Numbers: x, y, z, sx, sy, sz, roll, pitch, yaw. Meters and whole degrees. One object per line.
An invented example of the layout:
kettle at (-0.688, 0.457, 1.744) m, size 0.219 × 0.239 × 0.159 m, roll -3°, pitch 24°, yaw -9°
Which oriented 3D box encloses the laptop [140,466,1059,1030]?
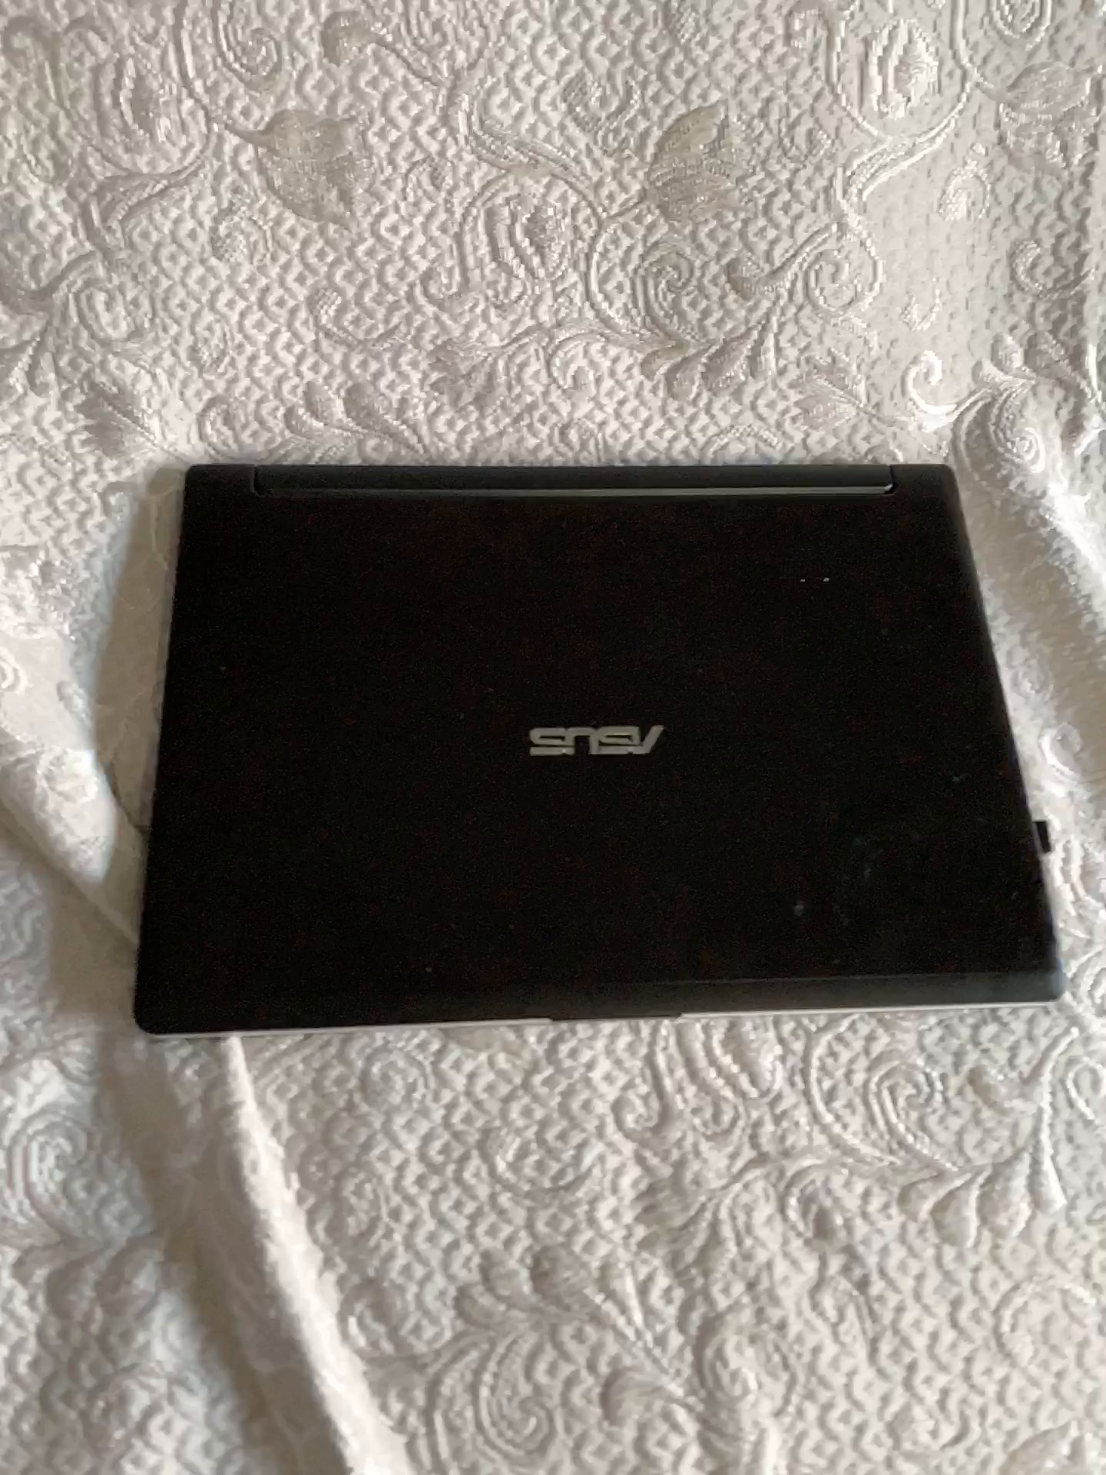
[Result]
laptop at (0.019, -0.009, 0.448) m, size 0.333 × 0.001 × 0.232 m, roll -1°, pitch 68°, yaw -6°
